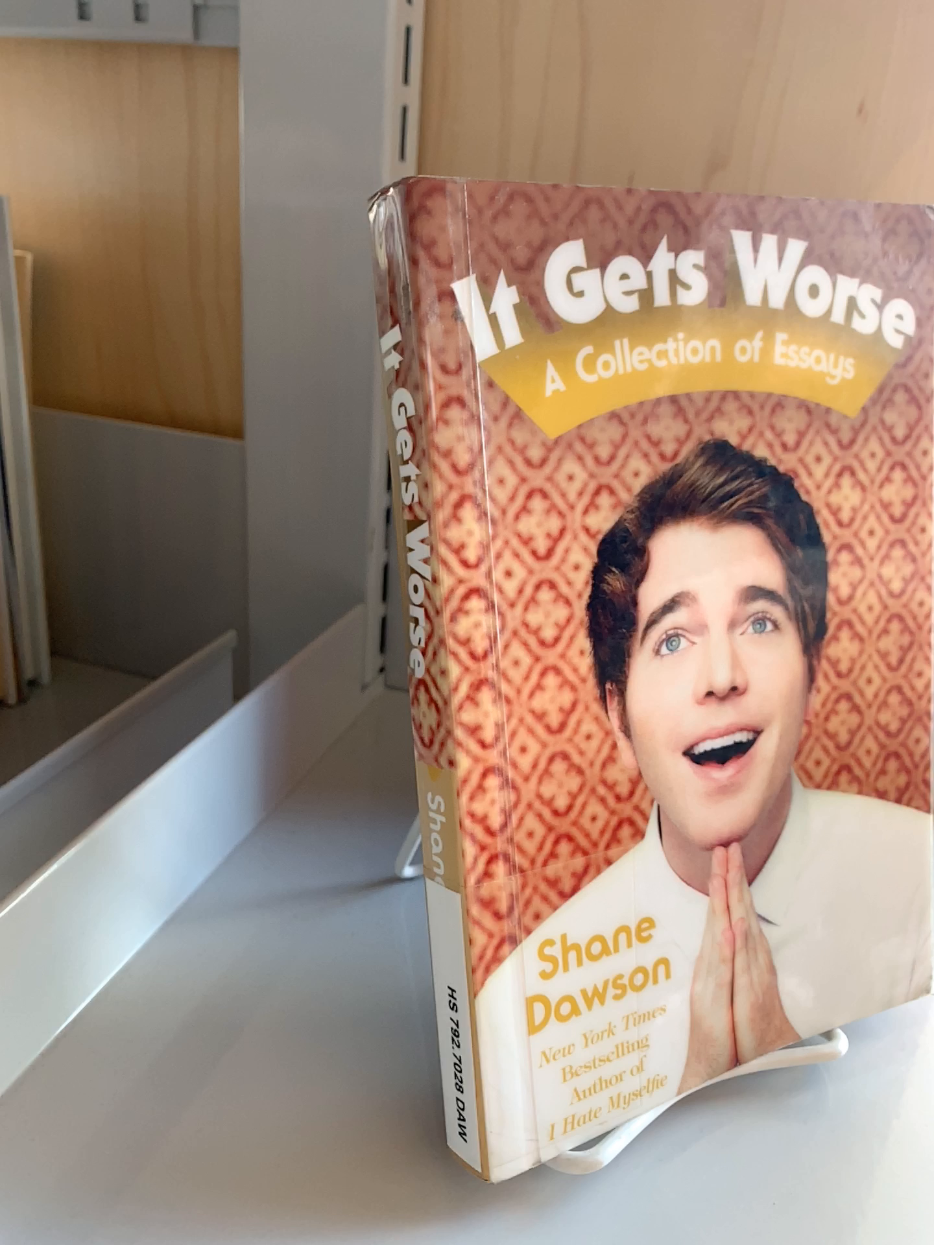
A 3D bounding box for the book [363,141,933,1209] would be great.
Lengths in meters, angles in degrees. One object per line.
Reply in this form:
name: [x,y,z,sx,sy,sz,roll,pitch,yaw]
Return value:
book: [0.057,0.008,0.235,0.149,0.210,0.030,-8,11,-28]
